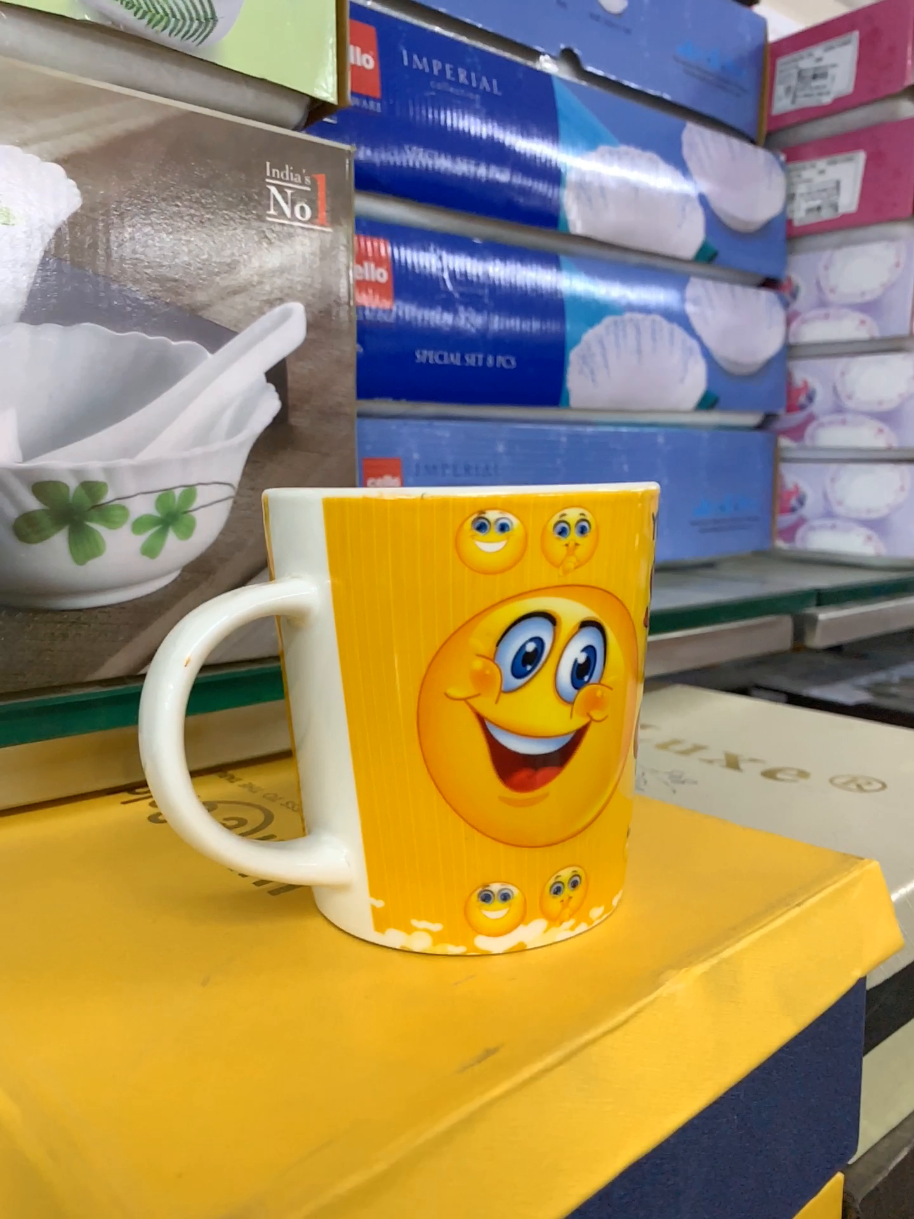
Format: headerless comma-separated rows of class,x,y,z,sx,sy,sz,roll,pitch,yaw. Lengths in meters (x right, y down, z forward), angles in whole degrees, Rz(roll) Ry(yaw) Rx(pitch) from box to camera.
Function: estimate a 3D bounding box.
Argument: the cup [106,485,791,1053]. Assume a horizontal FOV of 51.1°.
cup,-0.001,0.016,0.198,0.119,0.081,0.072,-4,9,-34
